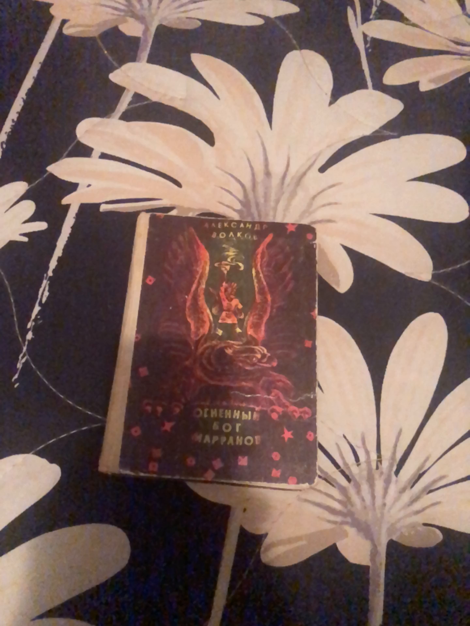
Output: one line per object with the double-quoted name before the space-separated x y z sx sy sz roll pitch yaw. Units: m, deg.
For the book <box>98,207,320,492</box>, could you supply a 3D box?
"book" -0.013 0.023 0.408 0.152 0.020 0.212 5 72 -2
